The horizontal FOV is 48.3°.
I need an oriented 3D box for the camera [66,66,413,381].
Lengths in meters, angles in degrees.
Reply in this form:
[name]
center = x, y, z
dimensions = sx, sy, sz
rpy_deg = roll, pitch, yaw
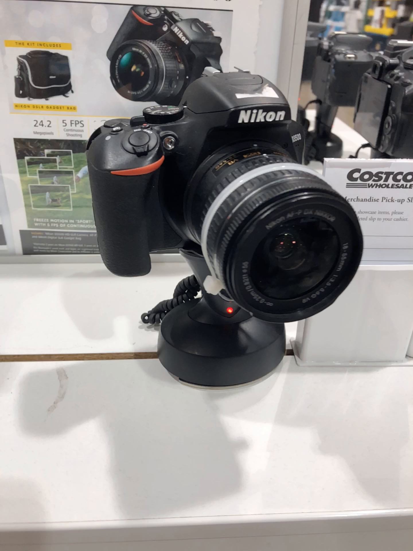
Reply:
[camera]
center = 0.014, -0.041, 0.227
dimensions = 0.140, 0.100, 0.120
rpy_deg = -9, 32, -16
